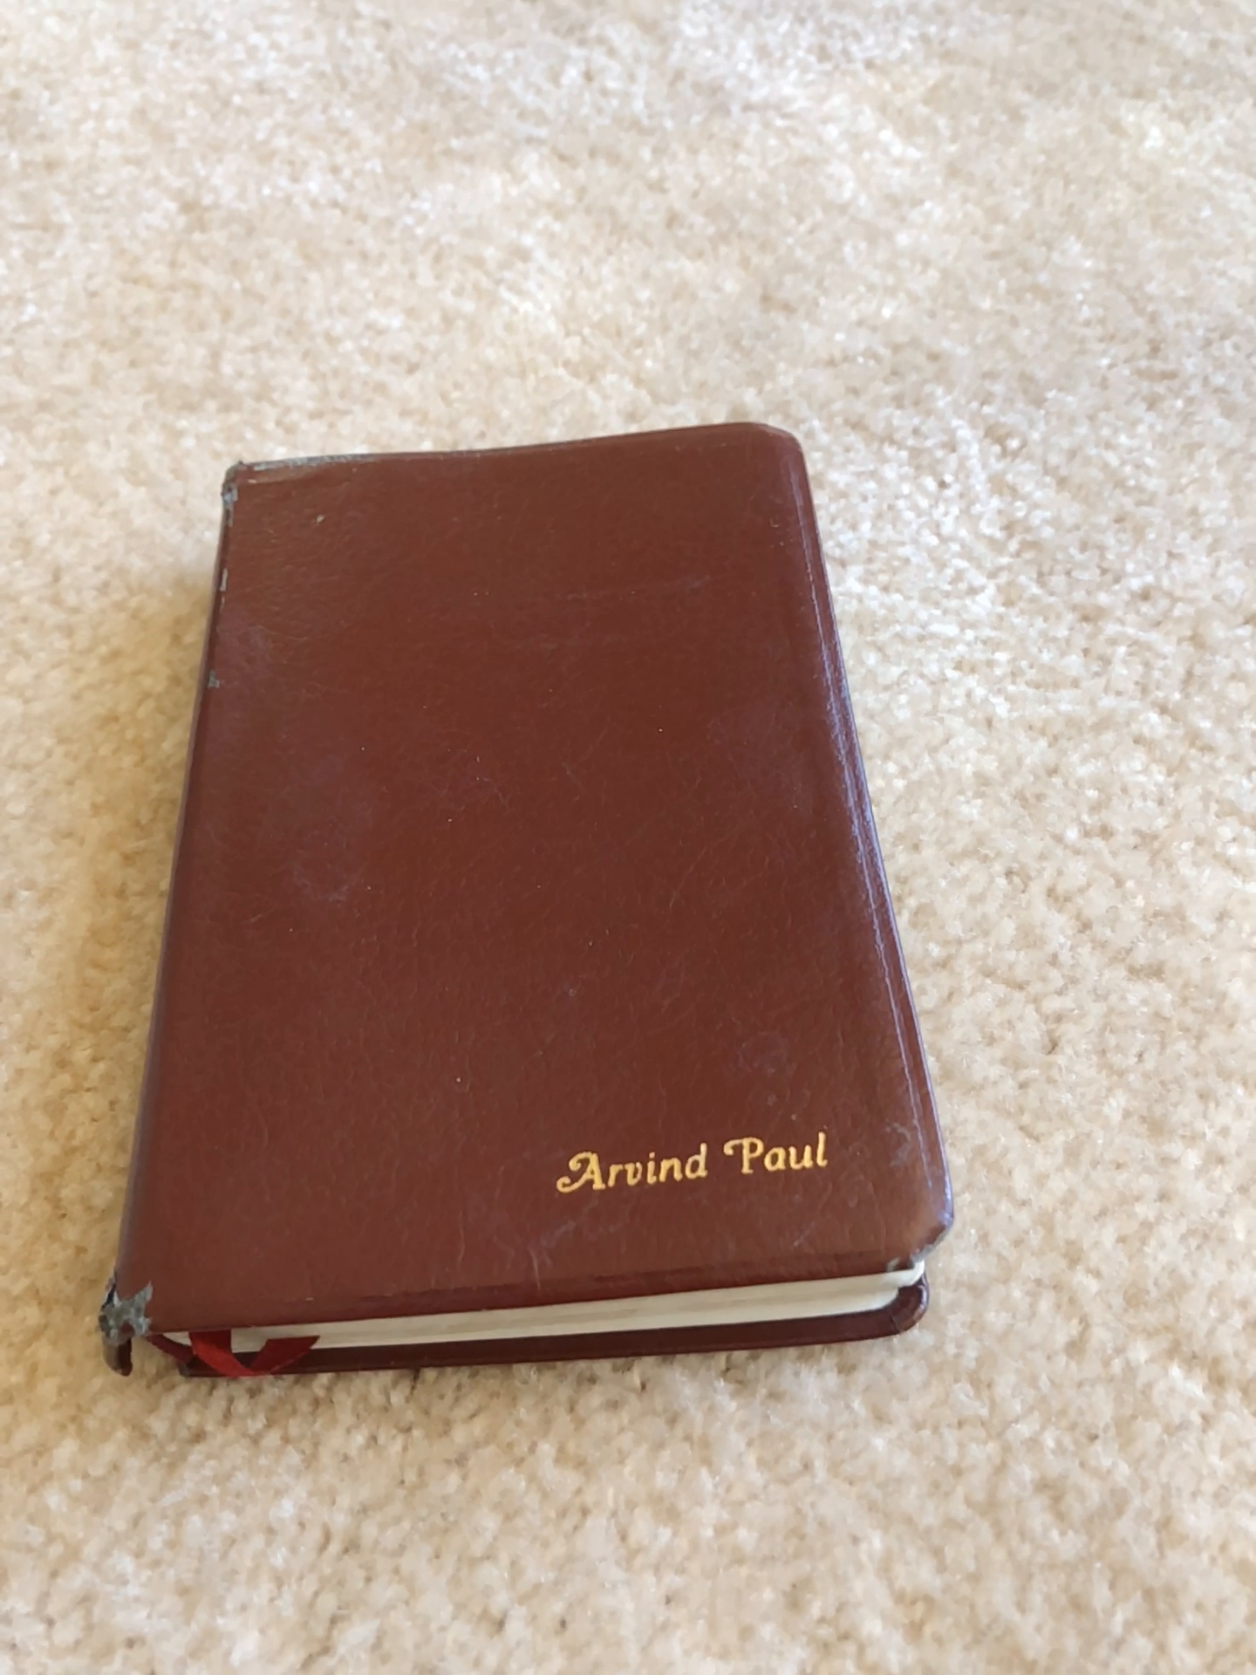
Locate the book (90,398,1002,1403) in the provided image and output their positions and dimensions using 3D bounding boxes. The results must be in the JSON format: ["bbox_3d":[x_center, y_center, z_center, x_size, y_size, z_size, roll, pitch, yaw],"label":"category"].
[{"bbox_3d":[-0.014,0.001,0.228,0.110,0.040,0.157,-5,56,1],"label":"book"}]
